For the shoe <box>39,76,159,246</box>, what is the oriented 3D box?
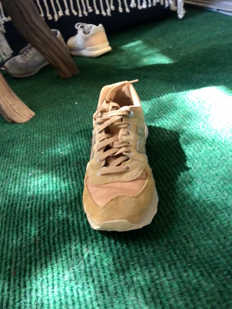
[{"bbox_3d":[-0.006,-0.012,0.376,0.110,0.099,0.262,-6,37,9],"label":"shoe"}]
